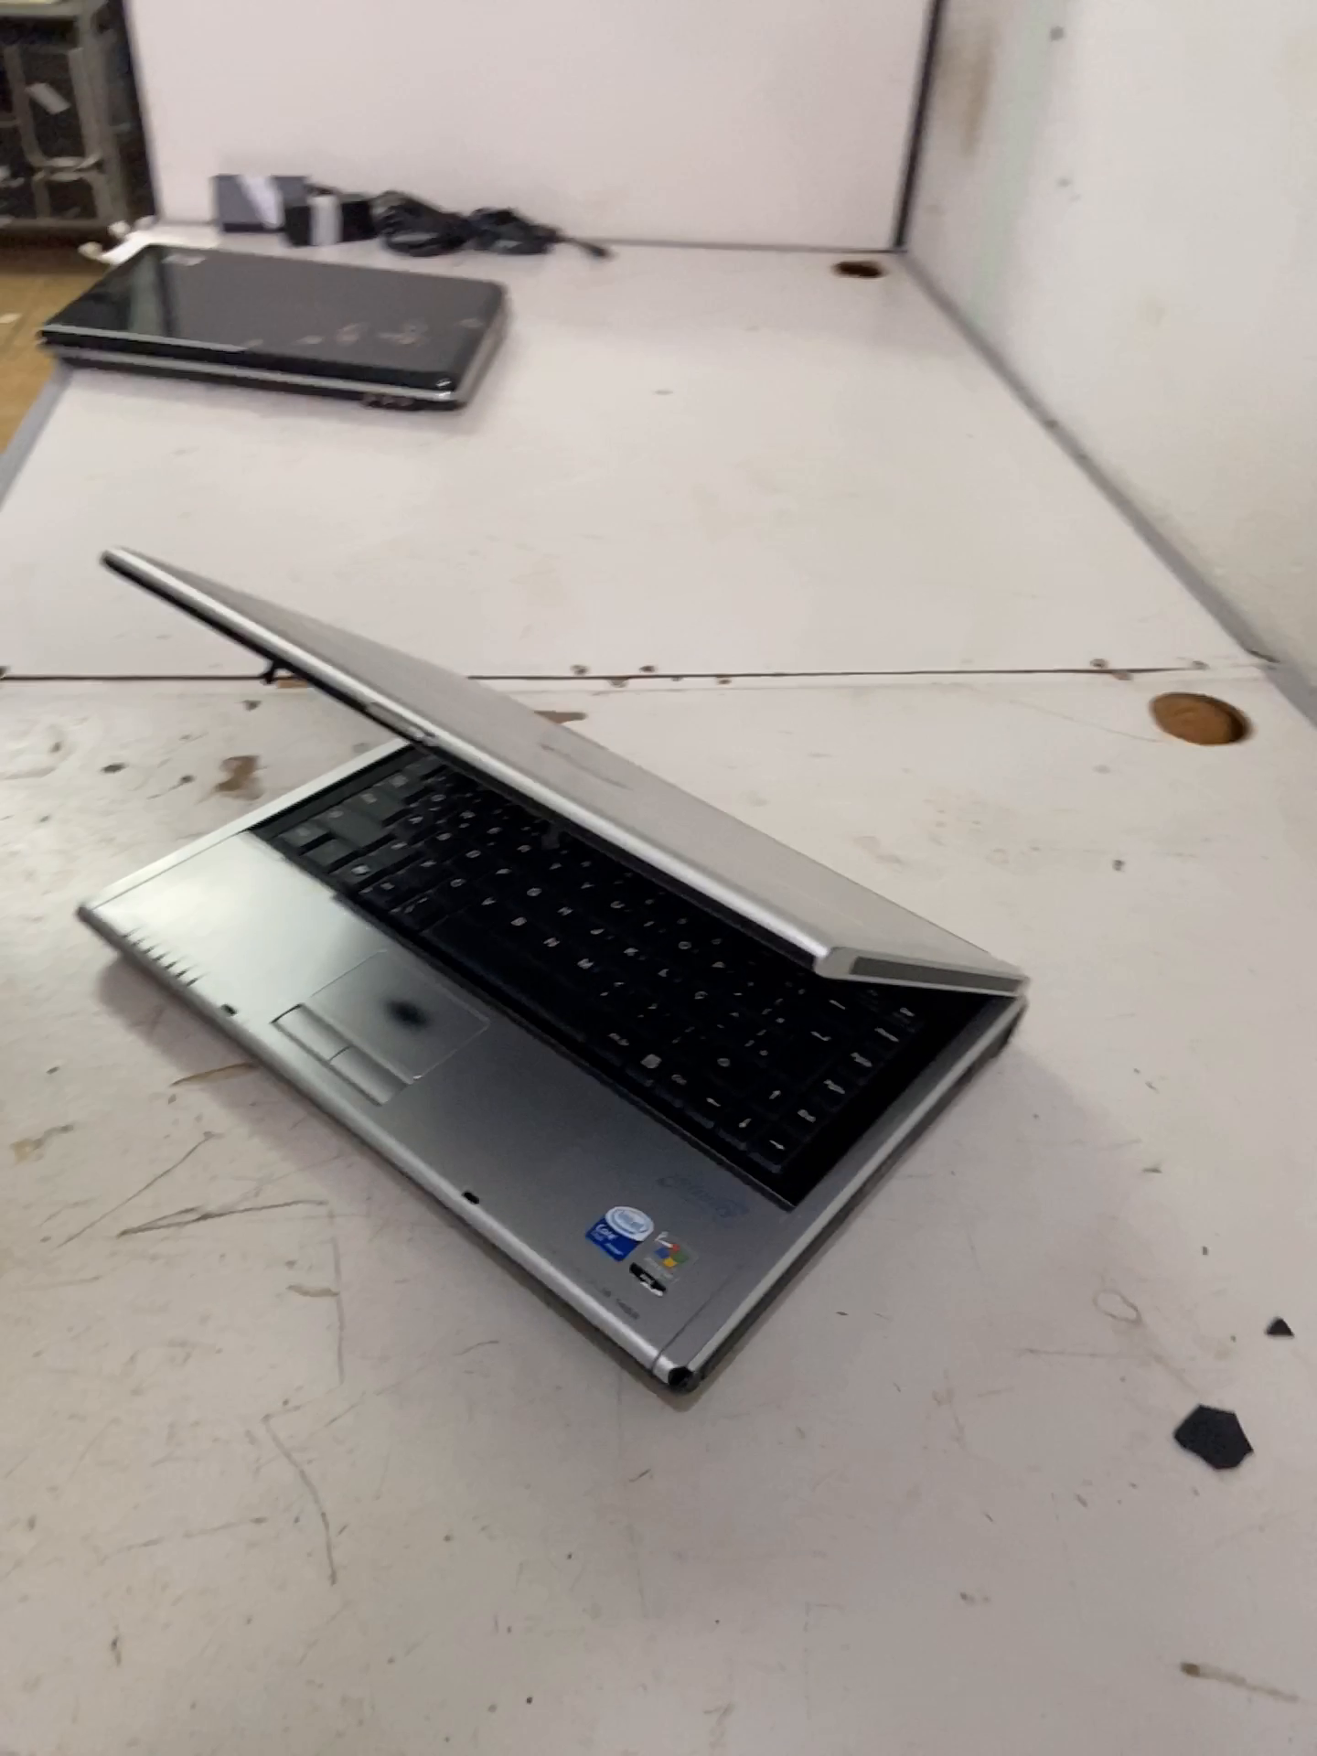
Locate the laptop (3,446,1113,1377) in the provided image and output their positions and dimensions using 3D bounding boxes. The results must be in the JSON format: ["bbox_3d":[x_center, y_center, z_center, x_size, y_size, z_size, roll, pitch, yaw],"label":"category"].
[{"bbox_3d":[-0.042,-0.023,0.515,0.319,0.144,0.227,29,45,29],"label":"laptop"}]
